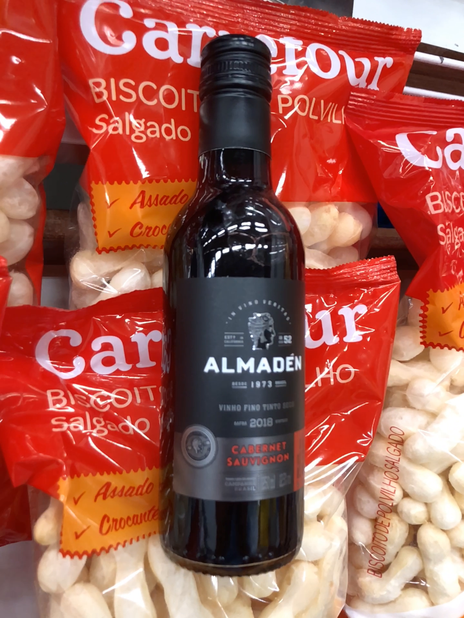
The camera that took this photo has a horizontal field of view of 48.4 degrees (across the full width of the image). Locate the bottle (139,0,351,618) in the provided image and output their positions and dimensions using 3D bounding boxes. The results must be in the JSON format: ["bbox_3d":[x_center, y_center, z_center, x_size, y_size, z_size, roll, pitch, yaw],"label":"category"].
[{"bbox_3d":[0.001,-0.018,0.206,0.060,0.060,0.240,3,83,-23],"label":"bottle"}]
